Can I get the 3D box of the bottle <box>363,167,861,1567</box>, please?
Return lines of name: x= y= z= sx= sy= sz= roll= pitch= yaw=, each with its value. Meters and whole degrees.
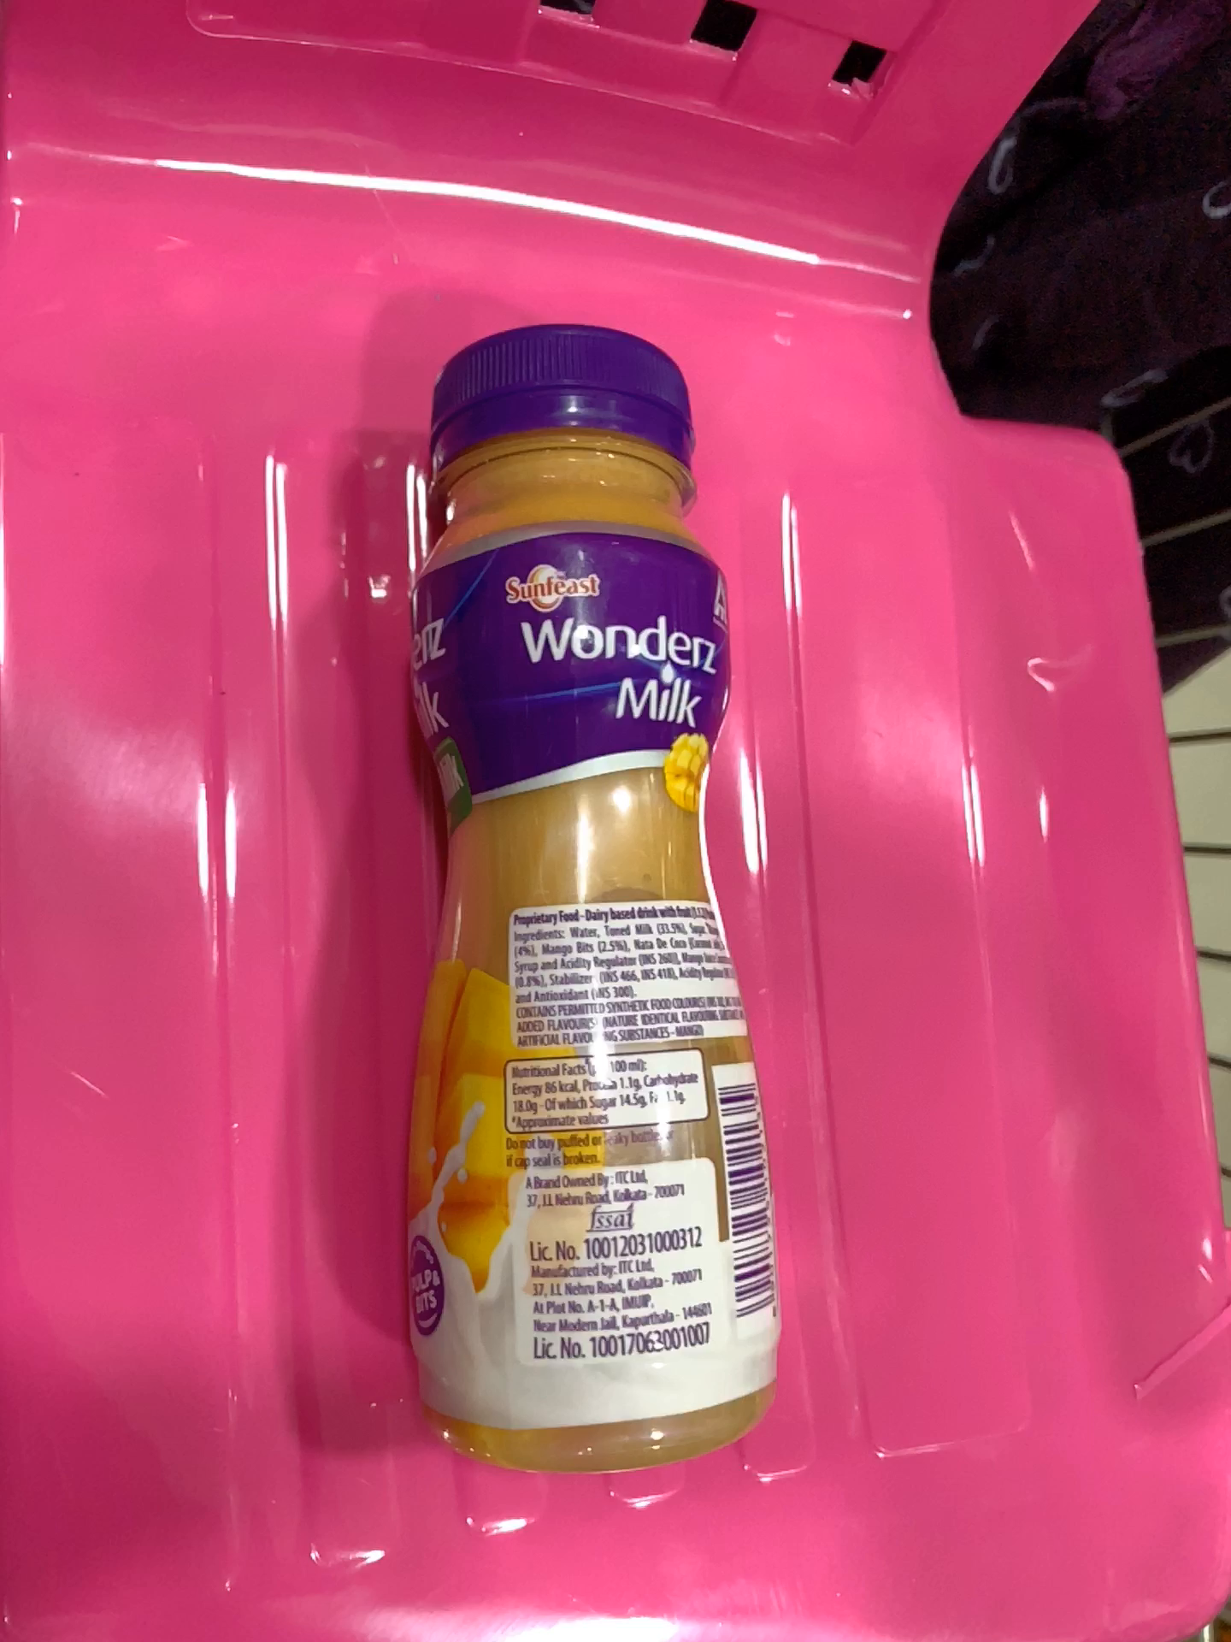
bottle: x=-0.005 y=0.004 z=0.179 sx=0.050 sy=0.050 sz=0.160 roll=0 pitch=85 yaw=-19
